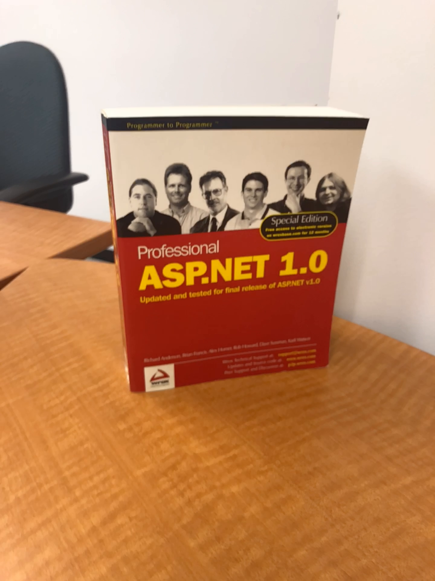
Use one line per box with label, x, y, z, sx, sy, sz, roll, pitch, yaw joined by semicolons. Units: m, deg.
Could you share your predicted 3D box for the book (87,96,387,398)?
book;0.013;-0.034;0.399;0.210;0.229;0.050;-5;27;-13
